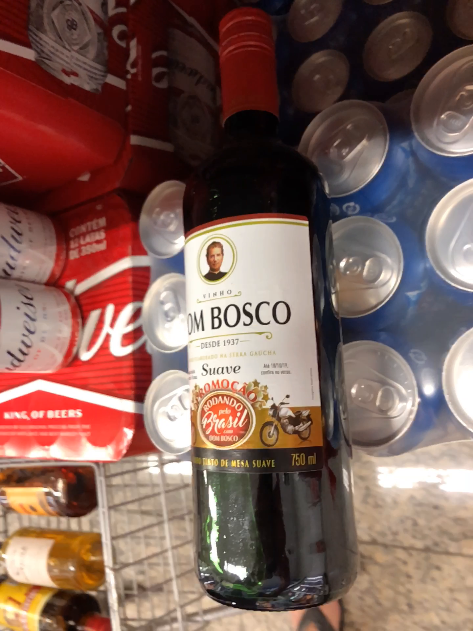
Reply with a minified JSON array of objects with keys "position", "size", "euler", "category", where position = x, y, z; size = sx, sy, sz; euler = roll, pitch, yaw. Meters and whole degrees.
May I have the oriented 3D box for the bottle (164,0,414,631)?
[{"position":[0.022,-0.023,0.263],"size":[0.080,0.070,0.300],"euler":[-9,80,37],"category":"bottle"}]
